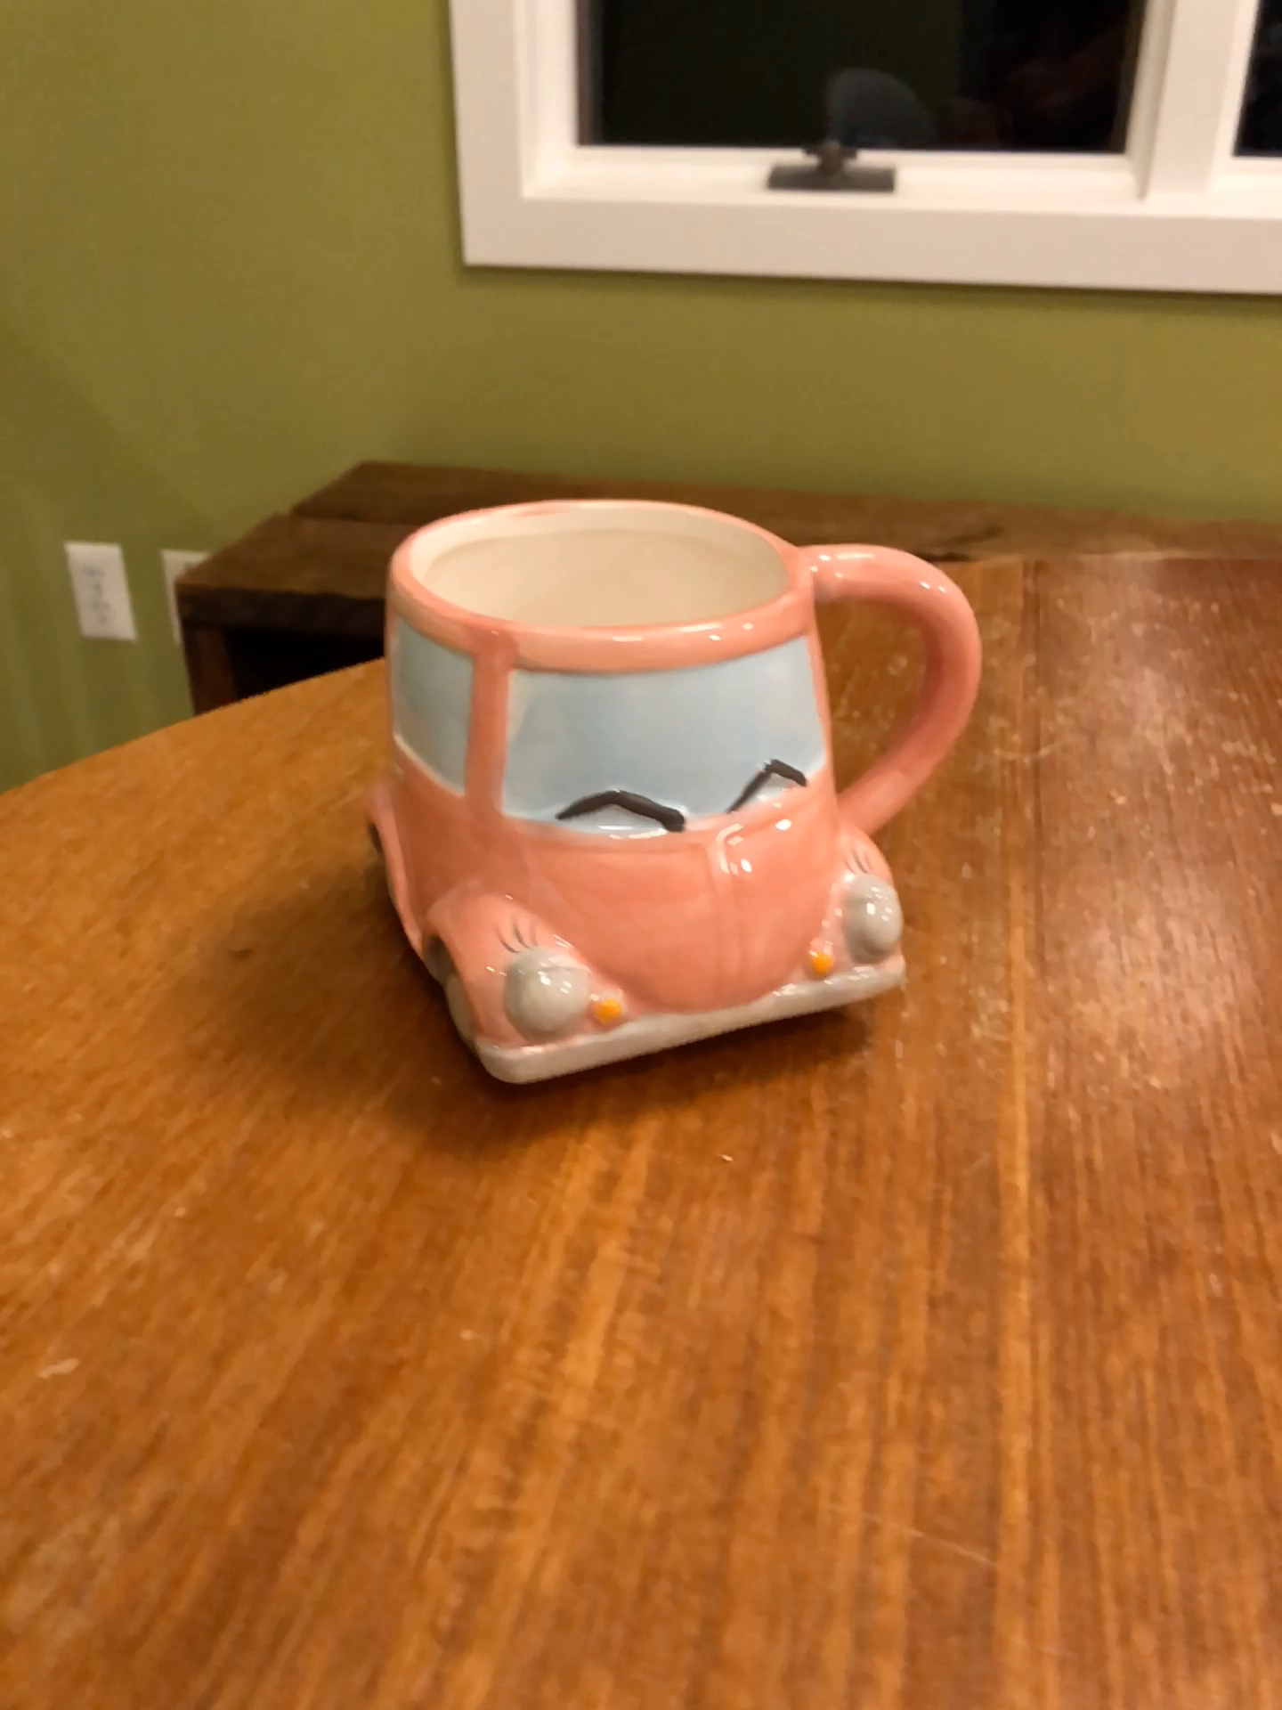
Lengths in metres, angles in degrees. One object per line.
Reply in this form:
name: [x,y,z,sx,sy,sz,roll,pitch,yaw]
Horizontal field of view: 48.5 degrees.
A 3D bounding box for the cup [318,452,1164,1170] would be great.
cup: [0.013,-0.023,0.327,0.139,0.097,0.128,0,29,0]
